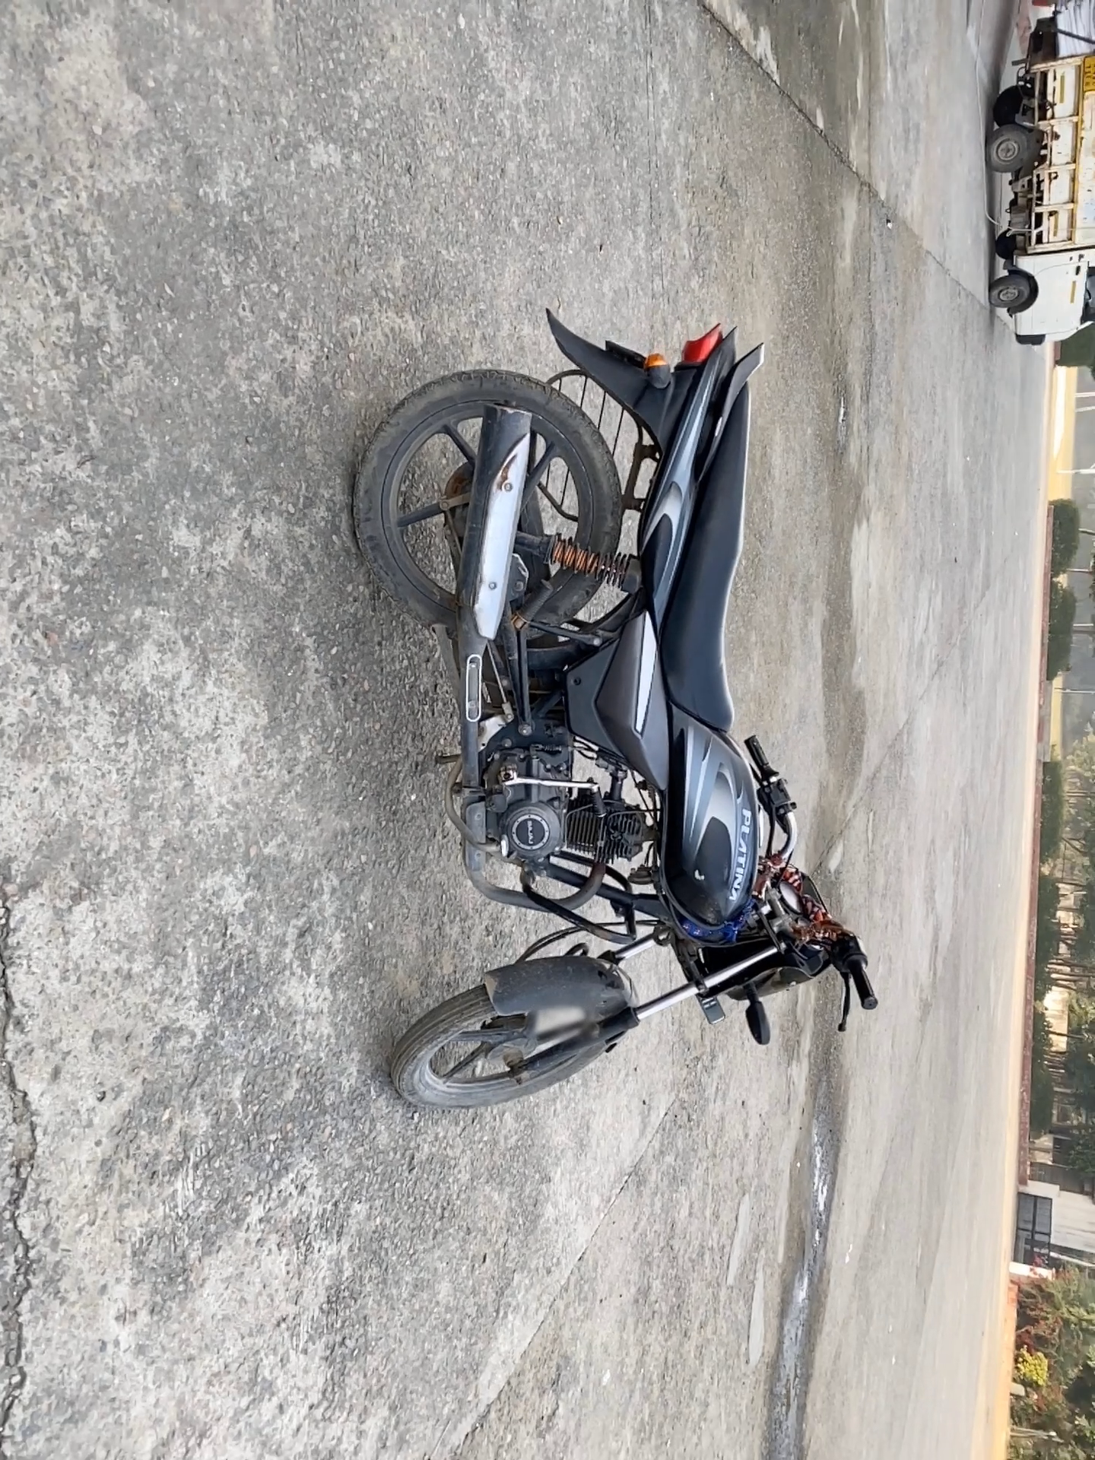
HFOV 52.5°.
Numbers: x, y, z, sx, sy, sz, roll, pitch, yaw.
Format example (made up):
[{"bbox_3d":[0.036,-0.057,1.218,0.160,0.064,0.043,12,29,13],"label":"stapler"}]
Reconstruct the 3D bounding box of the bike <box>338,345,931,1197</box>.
[{"bbox_3d":[0.279,0.067,2.689,0.775,1.078,1.739,-35,125,-59],"label":"bike"}]
